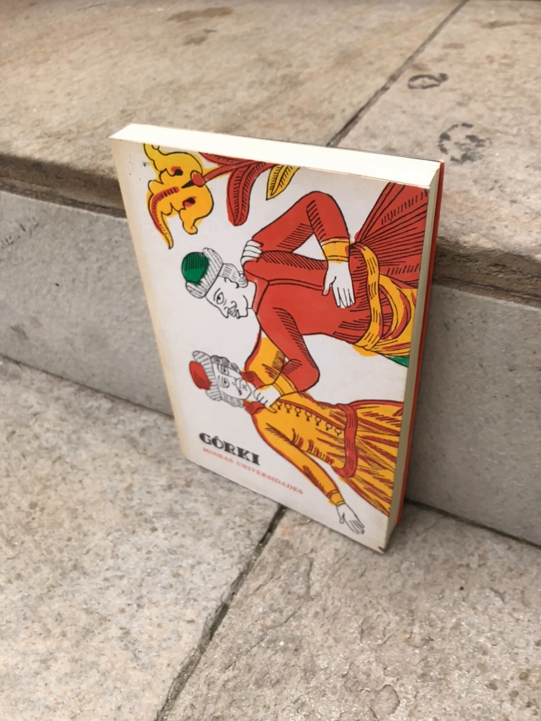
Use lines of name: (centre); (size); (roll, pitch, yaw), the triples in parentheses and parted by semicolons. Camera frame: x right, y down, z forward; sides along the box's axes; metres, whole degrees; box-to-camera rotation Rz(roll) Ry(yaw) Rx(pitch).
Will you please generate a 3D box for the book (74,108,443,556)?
book: (-0.006, -0.006, 0.281); (0.142, 0.189, 0.030); (20, 45, 26)
